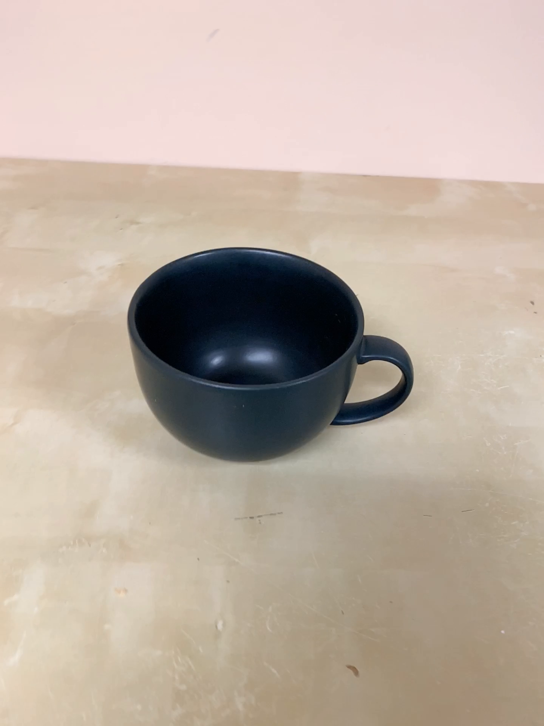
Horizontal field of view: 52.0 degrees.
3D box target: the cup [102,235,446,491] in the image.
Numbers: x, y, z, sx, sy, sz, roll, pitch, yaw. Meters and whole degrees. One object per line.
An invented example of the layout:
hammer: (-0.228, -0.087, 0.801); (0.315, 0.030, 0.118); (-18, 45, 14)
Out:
cup: (0.002, -0.006, 0.329); (0.158, 0.068, 0.136); (3, 42, -1)
